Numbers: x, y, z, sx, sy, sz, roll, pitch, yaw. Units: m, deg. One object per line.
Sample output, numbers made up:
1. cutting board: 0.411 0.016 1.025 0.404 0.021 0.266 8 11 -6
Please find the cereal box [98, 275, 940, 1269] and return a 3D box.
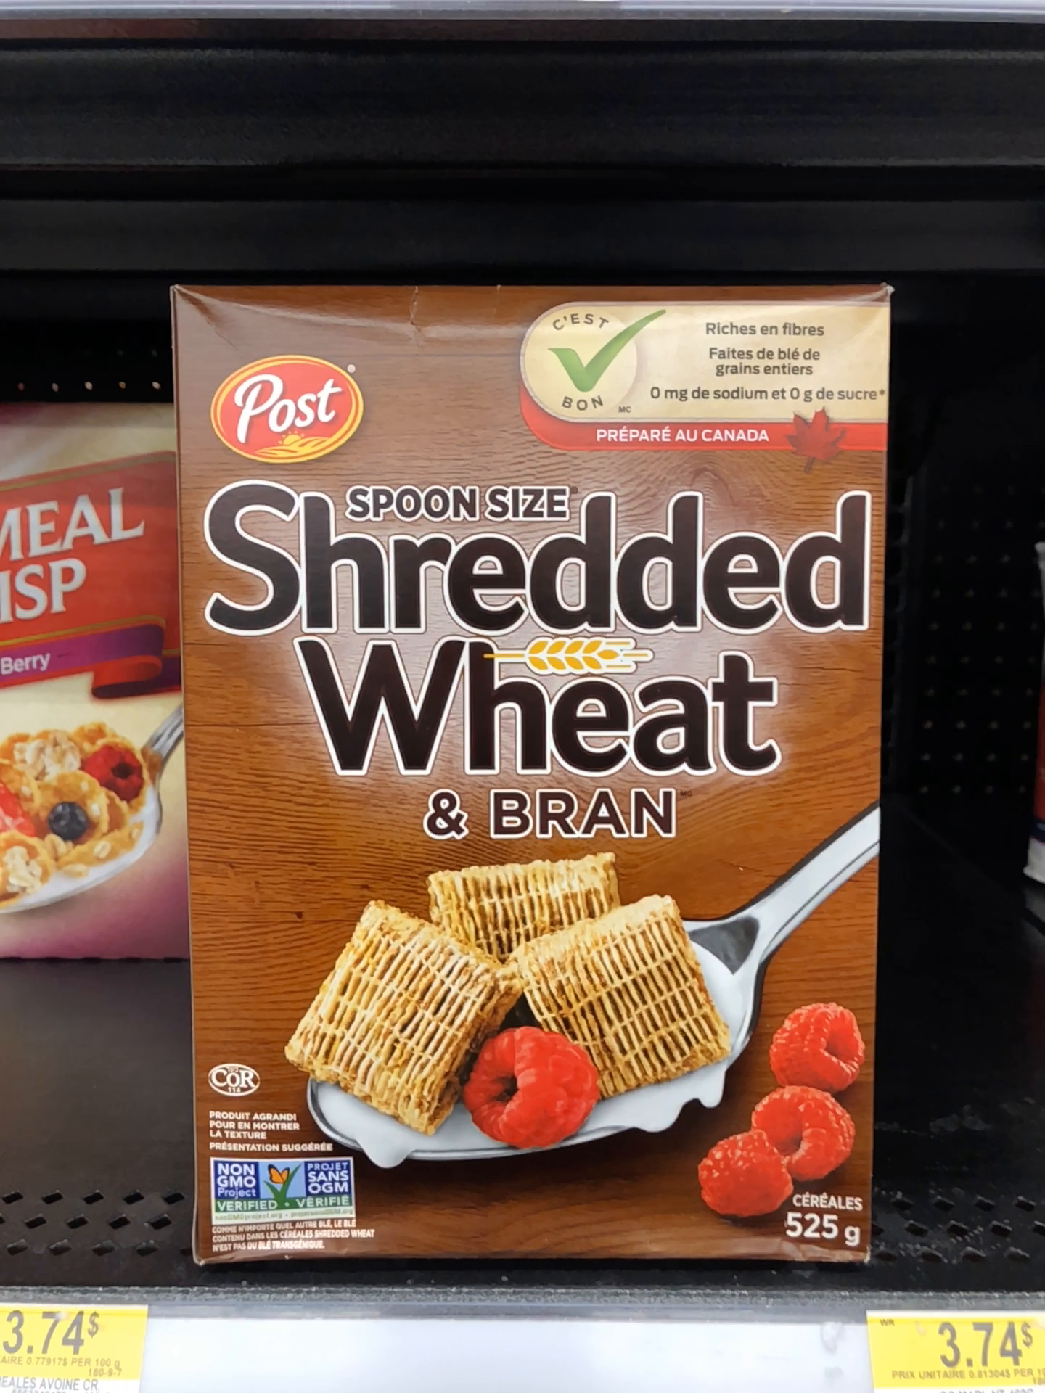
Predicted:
1. cereal box: -0.001 0.021 0.332 0.210 0.259 0.060 0 6 -1
